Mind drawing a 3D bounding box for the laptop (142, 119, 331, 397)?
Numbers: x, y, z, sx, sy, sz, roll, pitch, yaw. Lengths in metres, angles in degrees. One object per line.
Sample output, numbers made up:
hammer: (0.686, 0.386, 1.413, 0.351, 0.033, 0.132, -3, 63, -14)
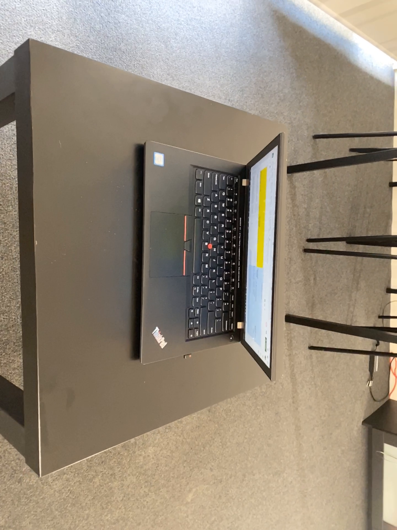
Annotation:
laptop: (0.060, -0.012, 0.619, 0.224, 0.165, 0.331, -2, 95, -43)
